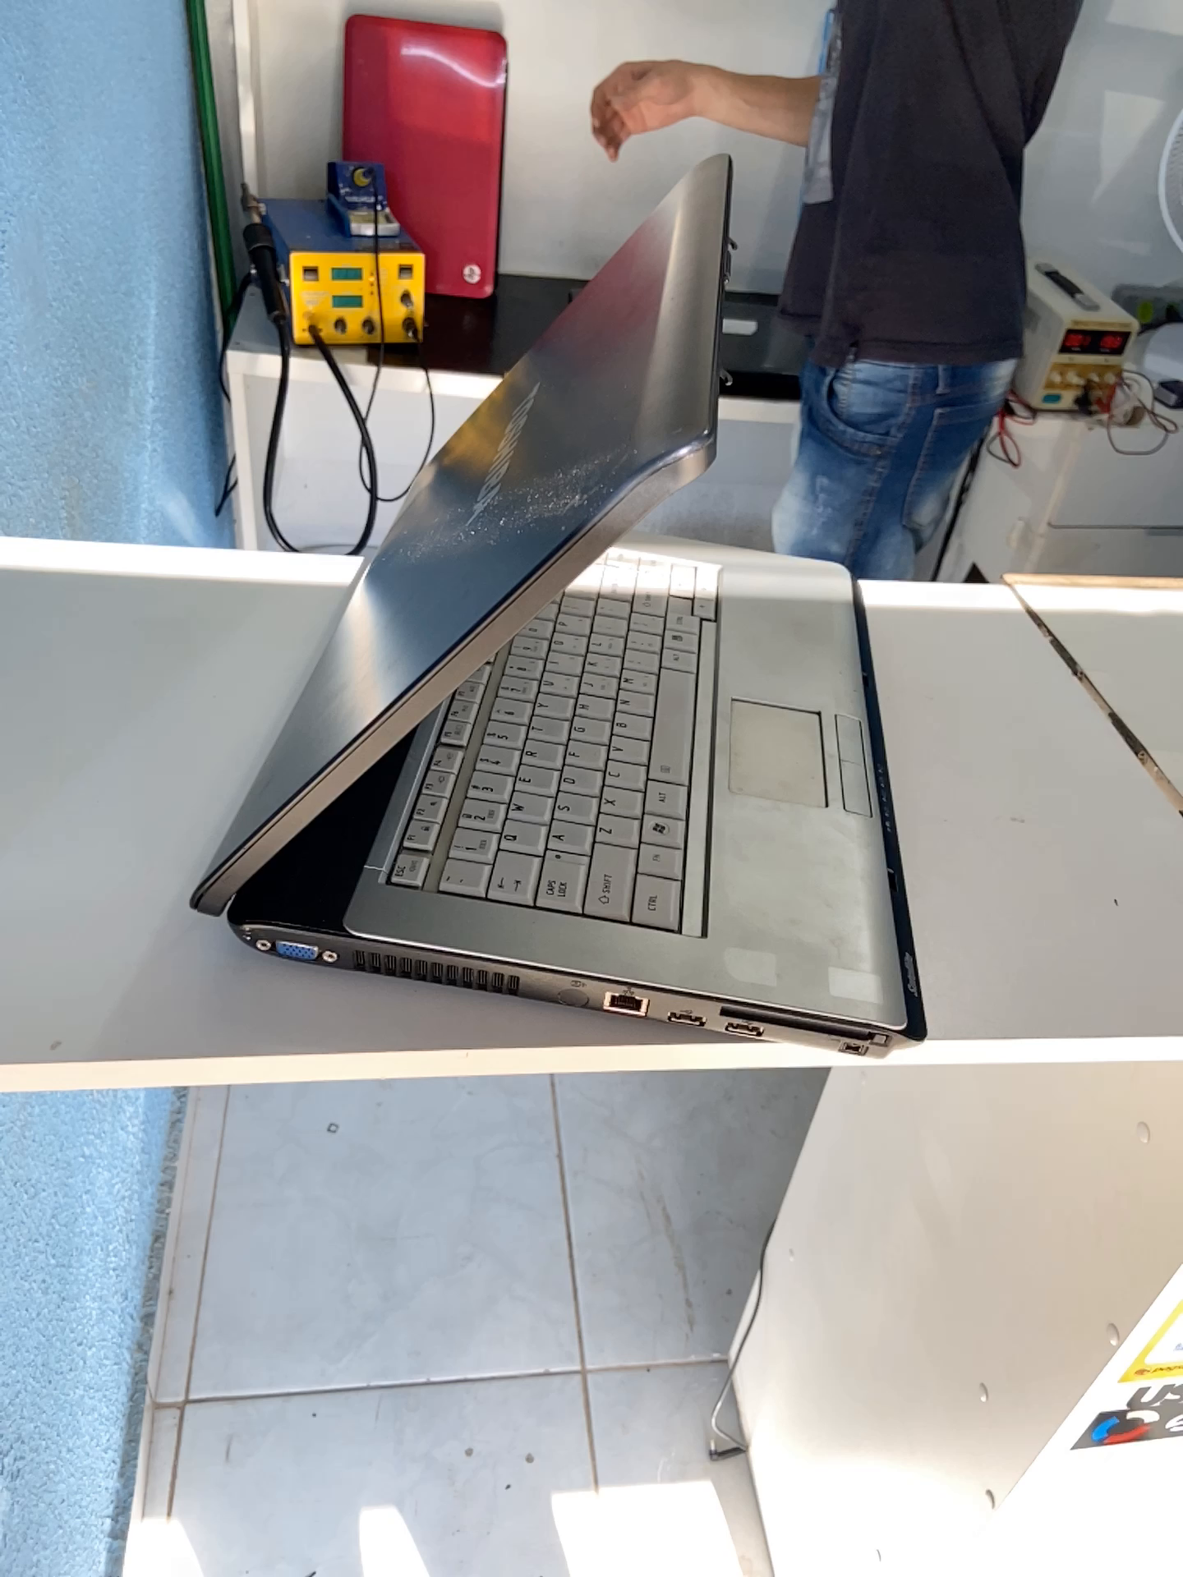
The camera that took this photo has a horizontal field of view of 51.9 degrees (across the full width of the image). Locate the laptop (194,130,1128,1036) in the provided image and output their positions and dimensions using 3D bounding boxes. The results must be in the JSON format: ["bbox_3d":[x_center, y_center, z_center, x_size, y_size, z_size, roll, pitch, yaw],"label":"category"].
[{"bbox_3d":[0.029,-0.116,0.516,0.246,0.202,0.353,9,38,1],"label":"laptop"}]
